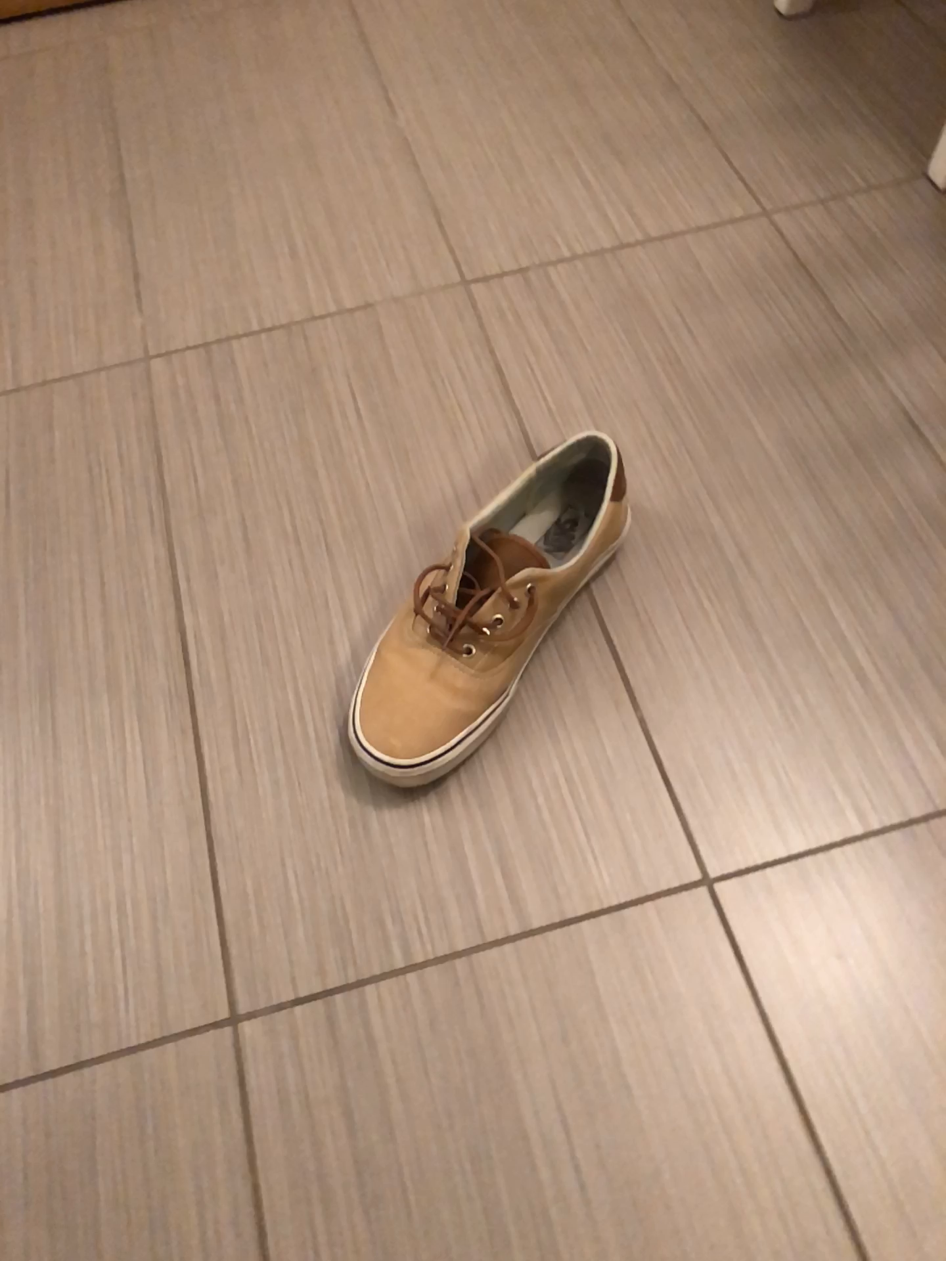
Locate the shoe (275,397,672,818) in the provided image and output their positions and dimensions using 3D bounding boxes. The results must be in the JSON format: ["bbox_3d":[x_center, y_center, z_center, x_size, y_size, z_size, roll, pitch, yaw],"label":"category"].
[{"bbox_3d":[0.011,-0.028,0.744,0.110,0.070,0.311,30,63,22],"label":"shoe"}]
